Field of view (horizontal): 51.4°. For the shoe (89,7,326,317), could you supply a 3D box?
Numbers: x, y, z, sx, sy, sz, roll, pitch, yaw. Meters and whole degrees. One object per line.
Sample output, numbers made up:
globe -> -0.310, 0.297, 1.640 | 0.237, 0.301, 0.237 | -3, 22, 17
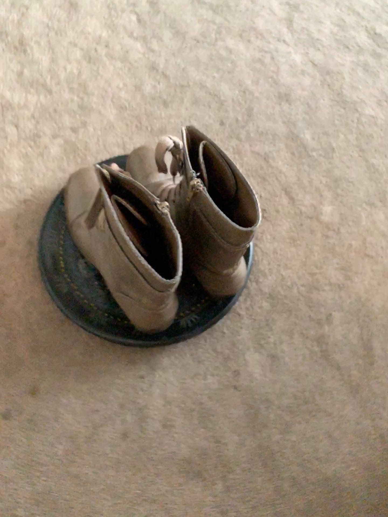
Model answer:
shoe -> -0.003, -0.094, 0.465 | 0.100, 0.199, 0.271 | -26, 74, -14

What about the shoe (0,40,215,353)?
shoe -> -0.098, -0.050, 0.441 | 0.100, 0.199, 0.261 | -26, 74, -14
